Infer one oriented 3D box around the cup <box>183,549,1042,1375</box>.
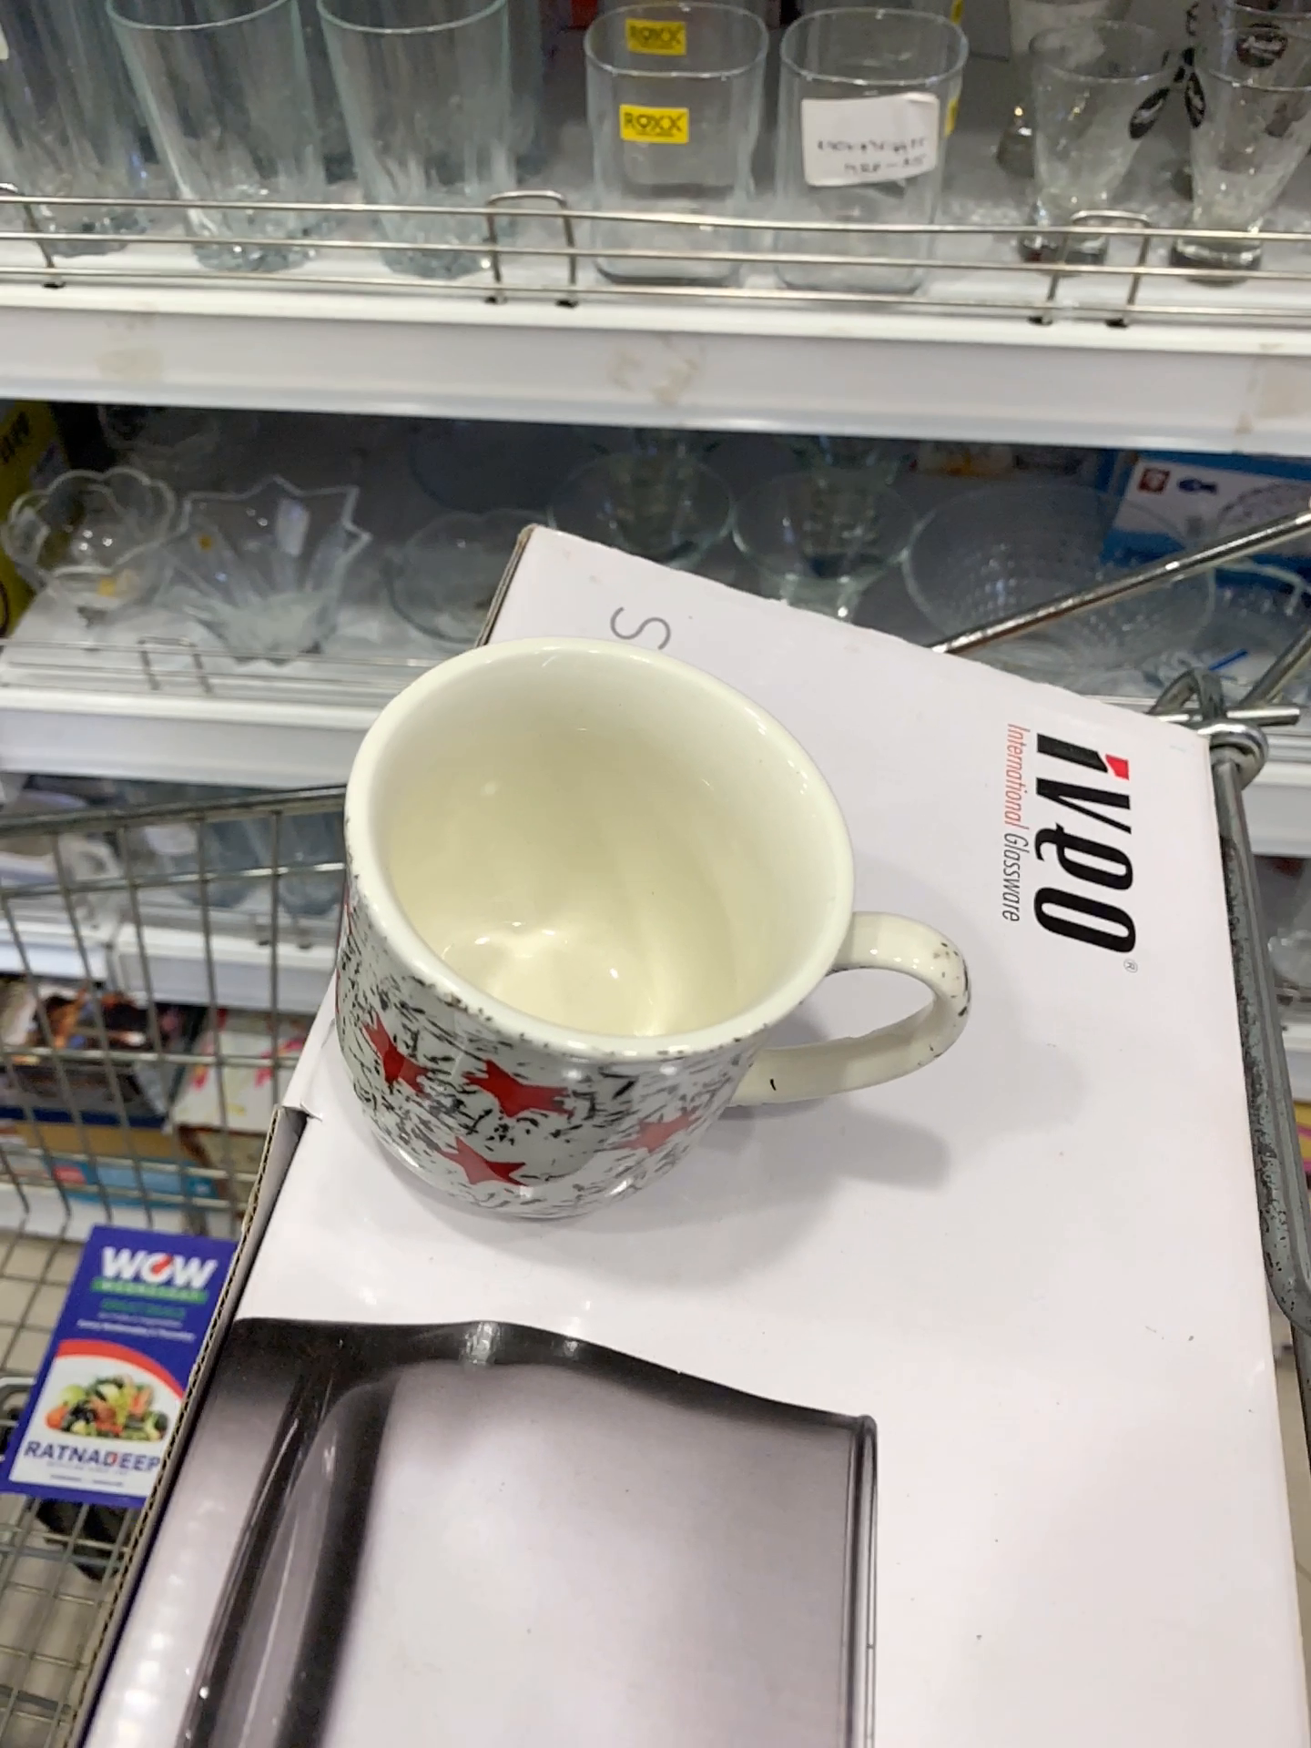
[{"bbox_3d":[-0.006,0.018,0.205,0.100,0.070,0.070,21,52,-9],"label":"cup"}]
